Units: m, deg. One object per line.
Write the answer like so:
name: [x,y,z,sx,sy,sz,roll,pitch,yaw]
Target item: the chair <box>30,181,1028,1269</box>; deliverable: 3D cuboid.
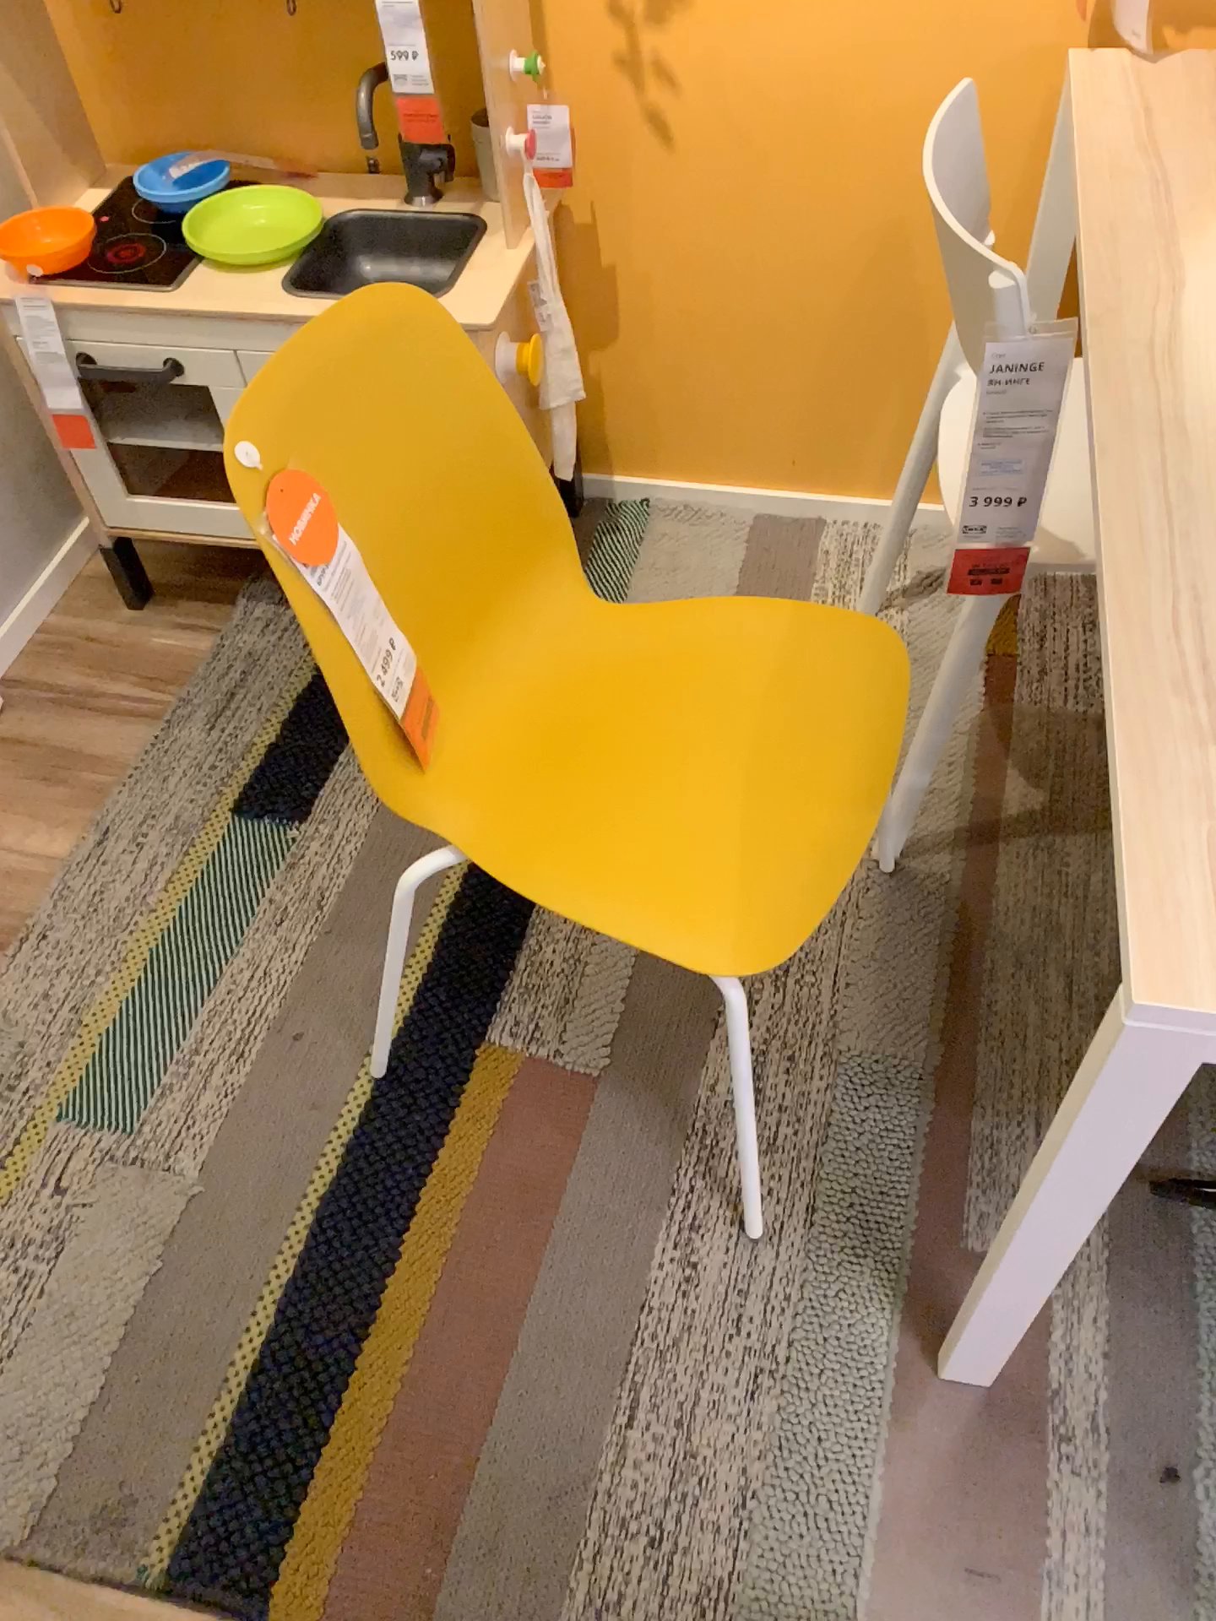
chair: [0.005,-0.047,1.207,0.555,0.809,0.559,13,53,15]
